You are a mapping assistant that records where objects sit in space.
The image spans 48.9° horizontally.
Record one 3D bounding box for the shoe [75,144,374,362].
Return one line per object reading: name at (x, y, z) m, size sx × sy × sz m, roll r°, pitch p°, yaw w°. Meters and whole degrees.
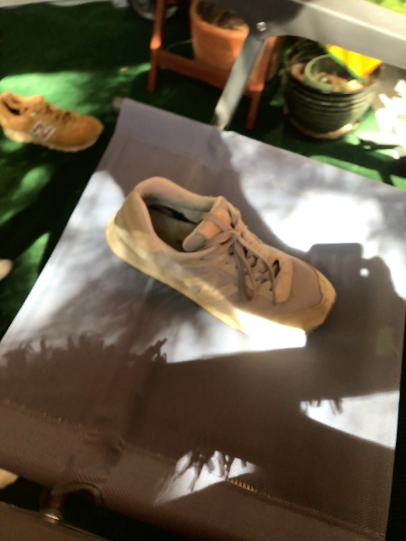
shoe at (0.022, -0.026, 0.509) m, size 0.287 × 0.104 × 0.125 m, roll 21°, pitch 60°, yaw 15°
